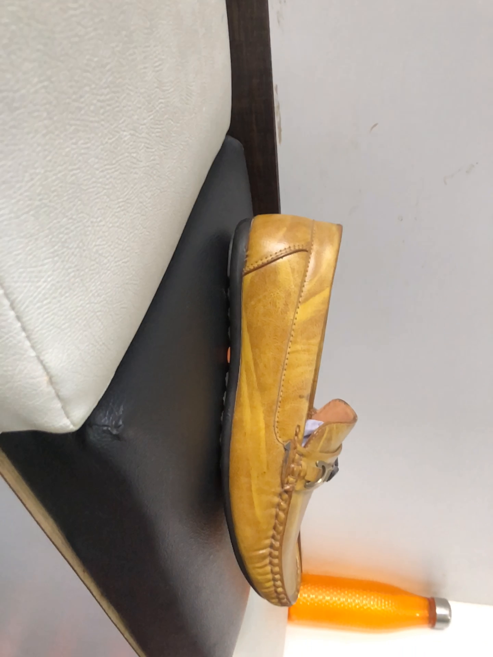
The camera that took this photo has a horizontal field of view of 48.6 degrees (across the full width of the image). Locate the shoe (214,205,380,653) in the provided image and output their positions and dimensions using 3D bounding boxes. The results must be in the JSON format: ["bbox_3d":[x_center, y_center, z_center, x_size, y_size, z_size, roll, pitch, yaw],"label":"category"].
[{"bbox_3d":[0.042,0.053,0.407,0.171,0.090,0.270,-40,132,-76],"label":"shoe"}]
